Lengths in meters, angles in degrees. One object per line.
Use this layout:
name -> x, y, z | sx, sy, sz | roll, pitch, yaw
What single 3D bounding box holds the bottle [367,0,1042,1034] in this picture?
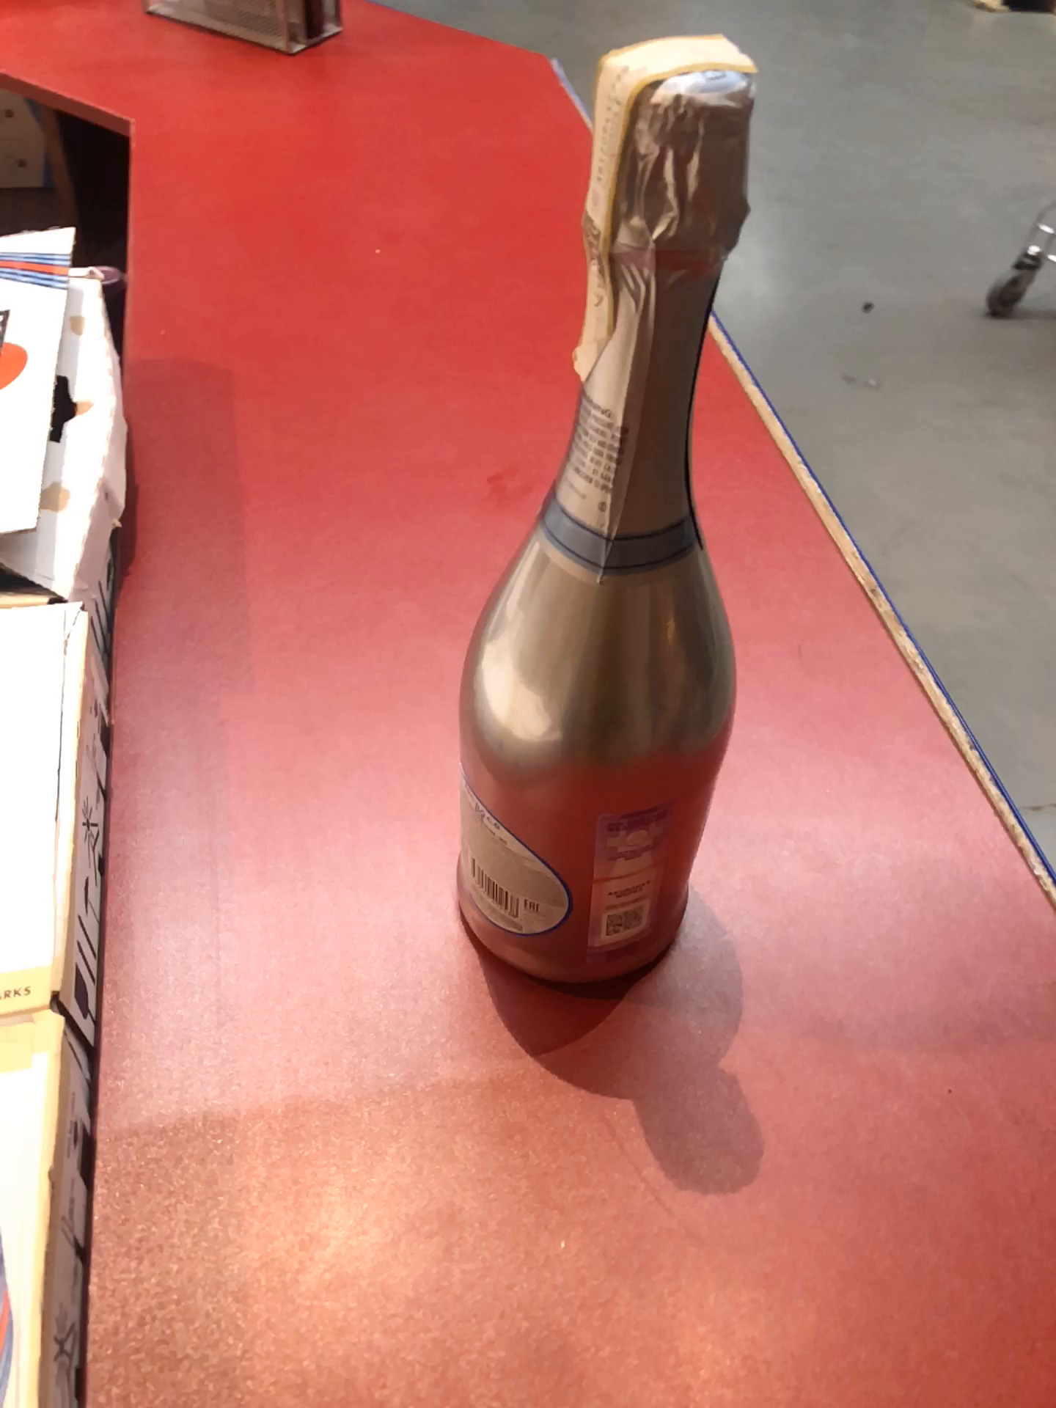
bottle -> 0.024, -0.036, 0.349 | 0.100, 0.298, 0.100 | 3, 46, -3
